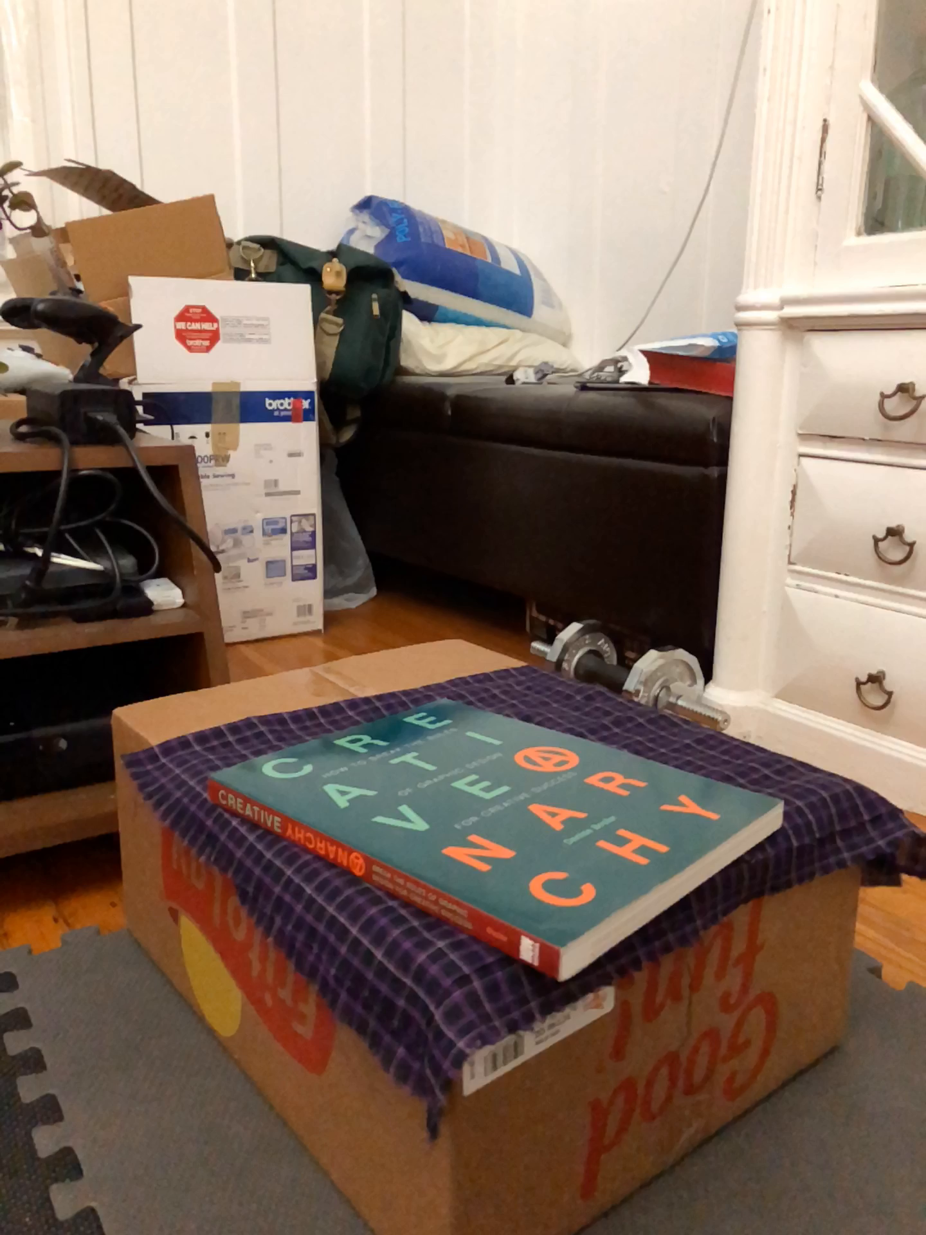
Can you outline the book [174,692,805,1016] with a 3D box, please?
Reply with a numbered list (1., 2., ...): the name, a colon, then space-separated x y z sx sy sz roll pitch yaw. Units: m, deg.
1. book: 0.010 0.111 0.599 0.300 0.020 0.221 13 19 41
